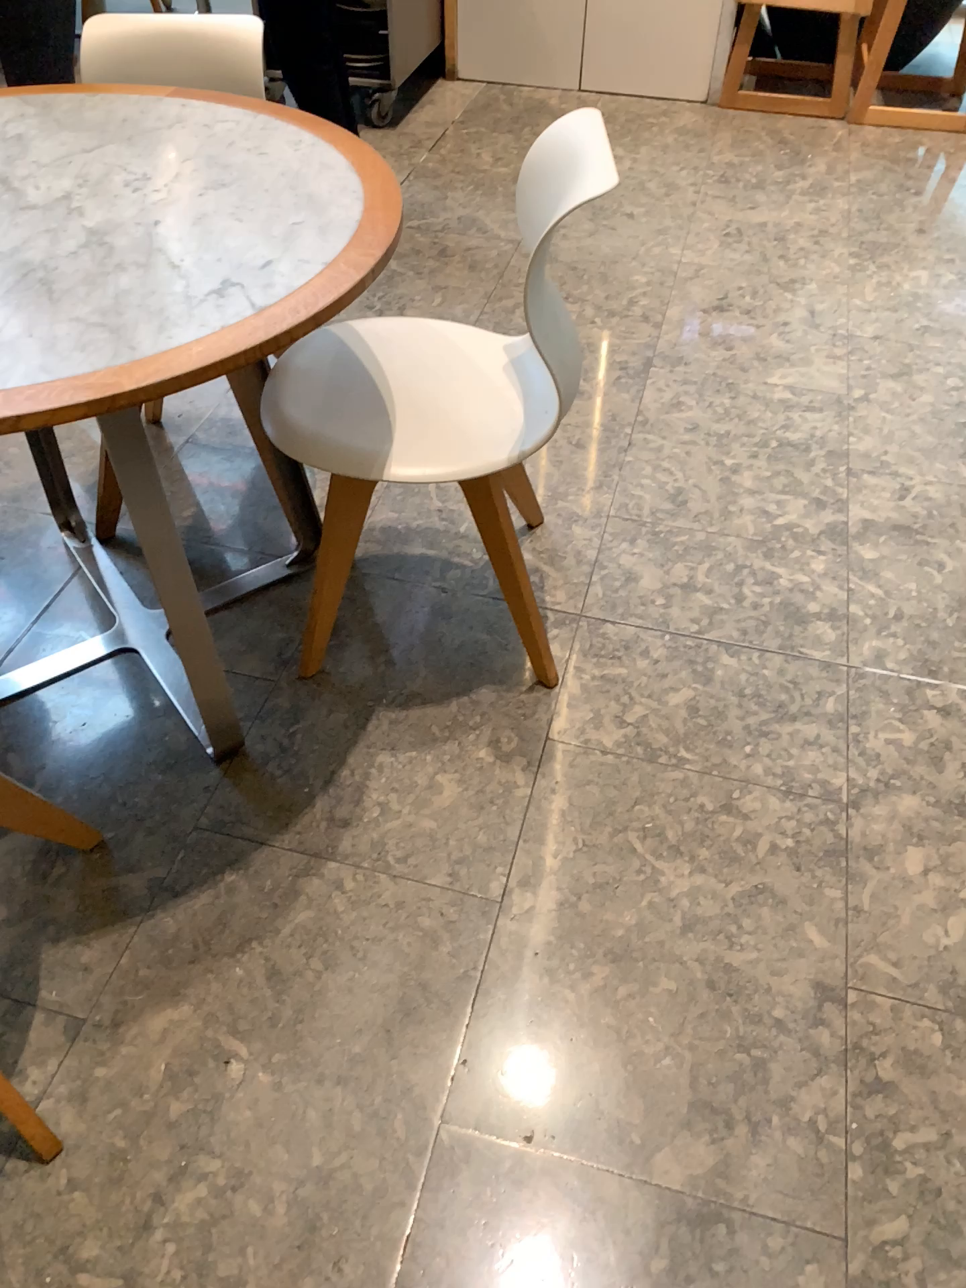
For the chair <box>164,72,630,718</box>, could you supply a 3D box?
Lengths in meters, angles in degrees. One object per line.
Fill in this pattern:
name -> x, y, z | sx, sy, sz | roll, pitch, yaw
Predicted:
chair -> -0.104, -0.367, 1.639 | 0.540, 0.911, 0.505 | 1, 45, 0
